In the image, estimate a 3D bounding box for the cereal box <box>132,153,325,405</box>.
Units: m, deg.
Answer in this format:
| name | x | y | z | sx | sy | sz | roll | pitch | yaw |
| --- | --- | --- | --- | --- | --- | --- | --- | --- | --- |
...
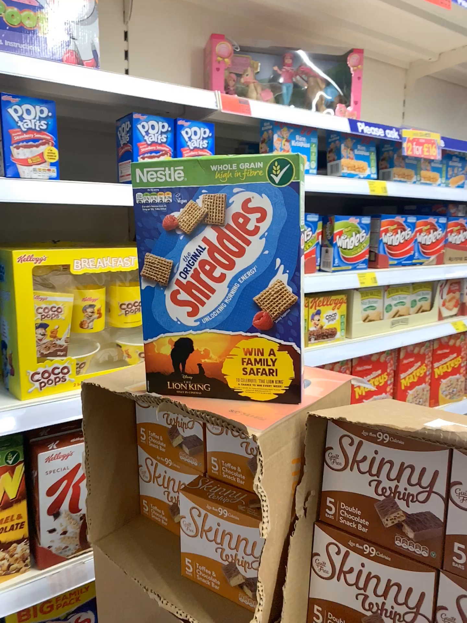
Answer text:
| name | x | y | z | sx | sy | sz | roll | pitch | yaw |
| --- | --- | --- | --- | --- | --- | --- | --- | --- | --- |
| cereal box | -0.001 | -0.038 | 0.571 | 0.210 | 0.269 | 0.070 | 1 | 10 | 15 |
